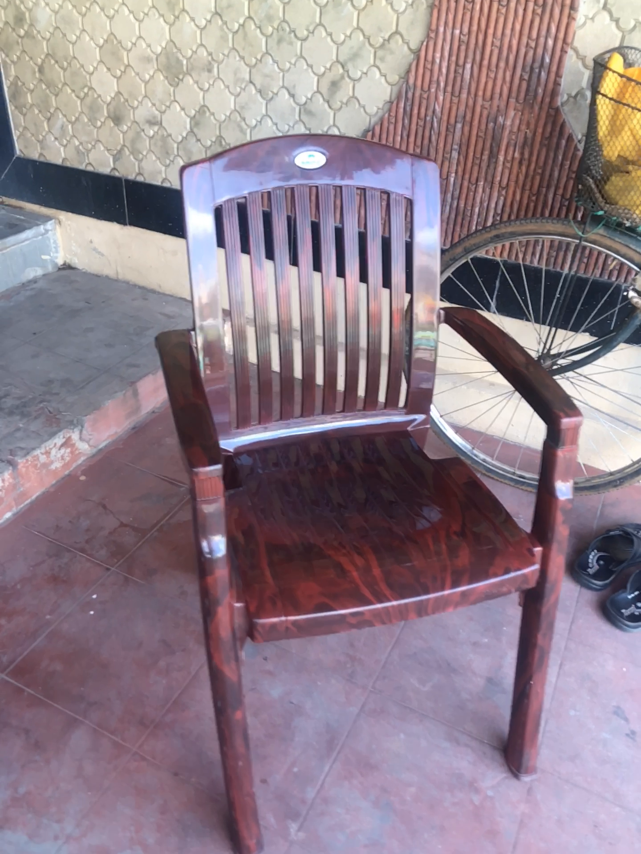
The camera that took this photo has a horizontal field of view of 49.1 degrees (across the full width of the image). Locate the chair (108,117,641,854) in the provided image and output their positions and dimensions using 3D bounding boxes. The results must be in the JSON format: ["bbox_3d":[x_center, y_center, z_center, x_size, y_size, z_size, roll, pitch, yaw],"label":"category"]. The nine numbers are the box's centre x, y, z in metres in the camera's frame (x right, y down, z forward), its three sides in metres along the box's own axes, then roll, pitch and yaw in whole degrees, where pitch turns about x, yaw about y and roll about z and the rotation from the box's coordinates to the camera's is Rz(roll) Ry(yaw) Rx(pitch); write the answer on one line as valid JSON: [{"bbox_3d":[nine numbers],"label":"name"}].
[{"bbox_3d":[0.033,0.048,1.086,0.591,0.845,0.703,-6,35,-13],"label":"chair"}]
